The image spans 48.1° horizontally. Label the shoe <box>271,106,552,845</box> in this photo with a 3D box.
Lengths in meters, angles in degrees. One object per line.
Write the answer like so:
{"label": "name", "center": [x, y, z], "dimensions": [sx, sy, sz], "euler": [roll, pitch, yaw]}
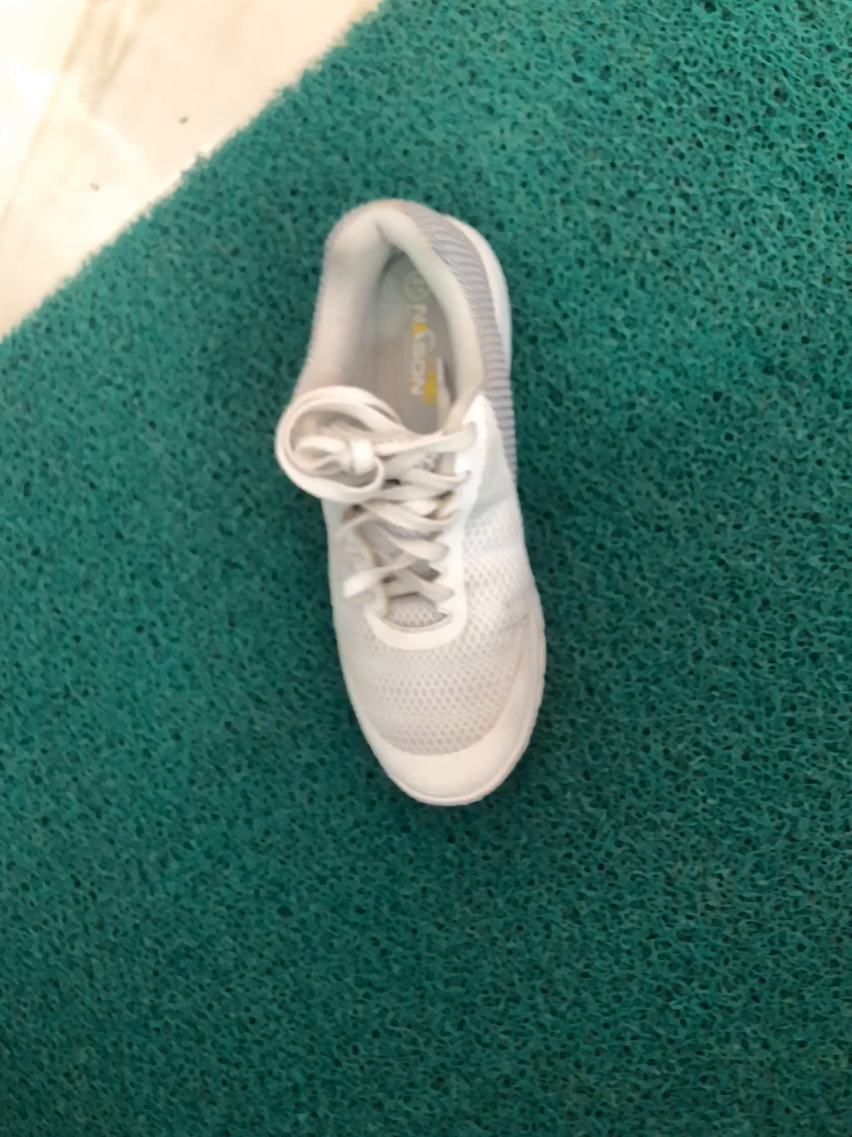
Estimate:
{"label": "shoe", "center": [-0.001, -0.037, 0.436], "dimensions": [0.100, 0.100, 0.290], "euler": [0, 89, 17]}
